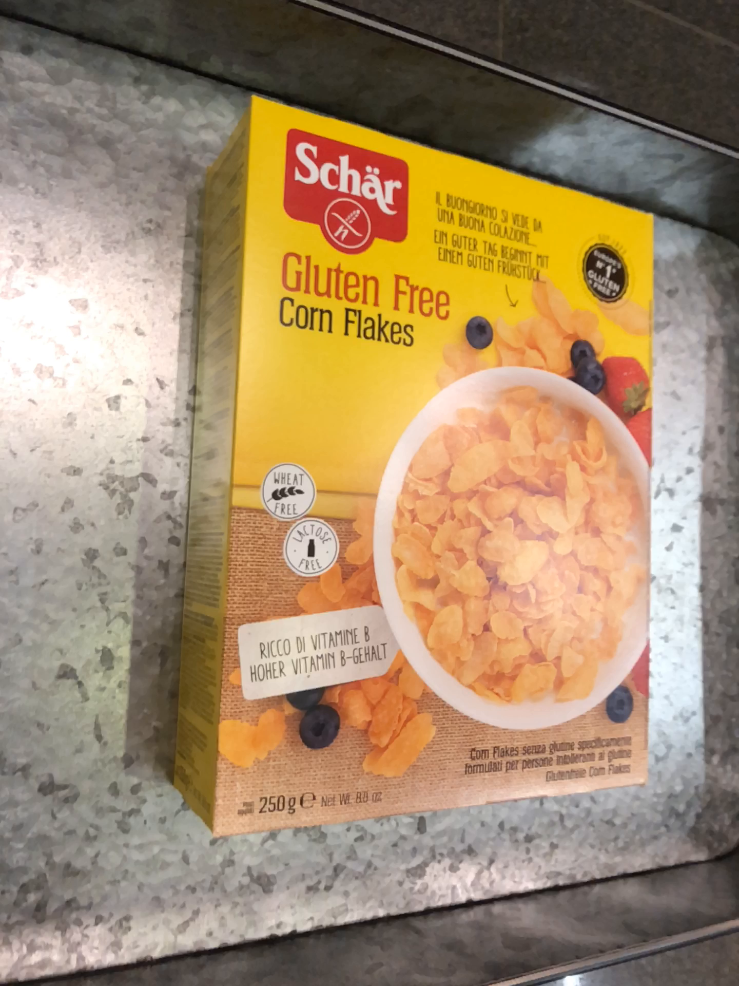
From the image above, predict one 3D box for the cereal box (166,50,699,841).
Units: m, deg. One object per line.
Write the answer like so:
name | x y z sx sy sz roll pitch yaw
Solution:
cereal box | 0.033 -0.011 0.335 0.201 0.070 0.250 4 86 -27
